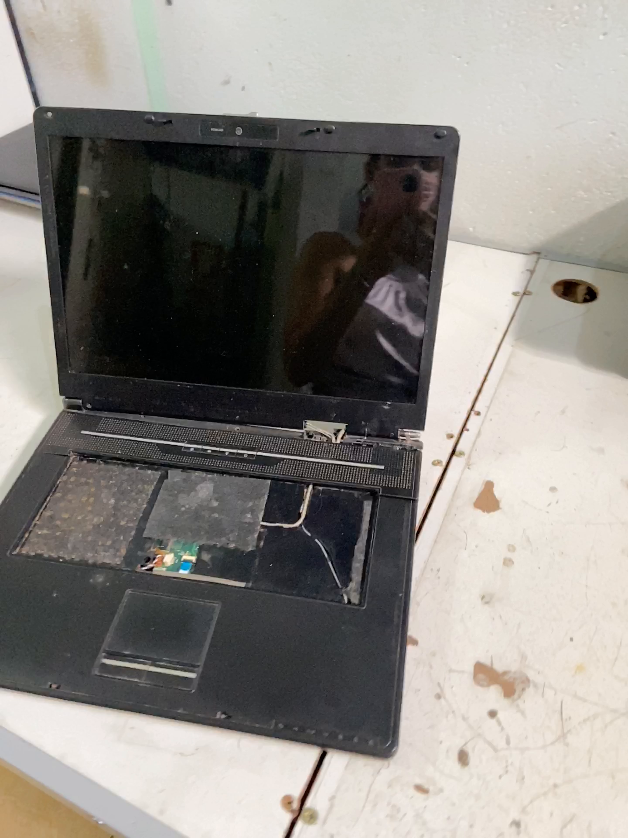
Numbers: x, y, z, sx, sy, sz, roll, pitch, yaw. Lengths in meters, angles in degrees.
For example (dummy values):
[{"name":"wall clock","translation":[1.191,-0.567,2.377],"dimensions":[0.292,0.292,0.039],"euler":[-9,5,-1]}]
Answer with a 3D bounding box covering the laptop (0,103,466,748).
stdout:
[{"name":"laptop","translation":[-0.088,-0.032,0.478],"dimensions":[0.344,0.235,0.382],"euler":[6,46,9]}]
